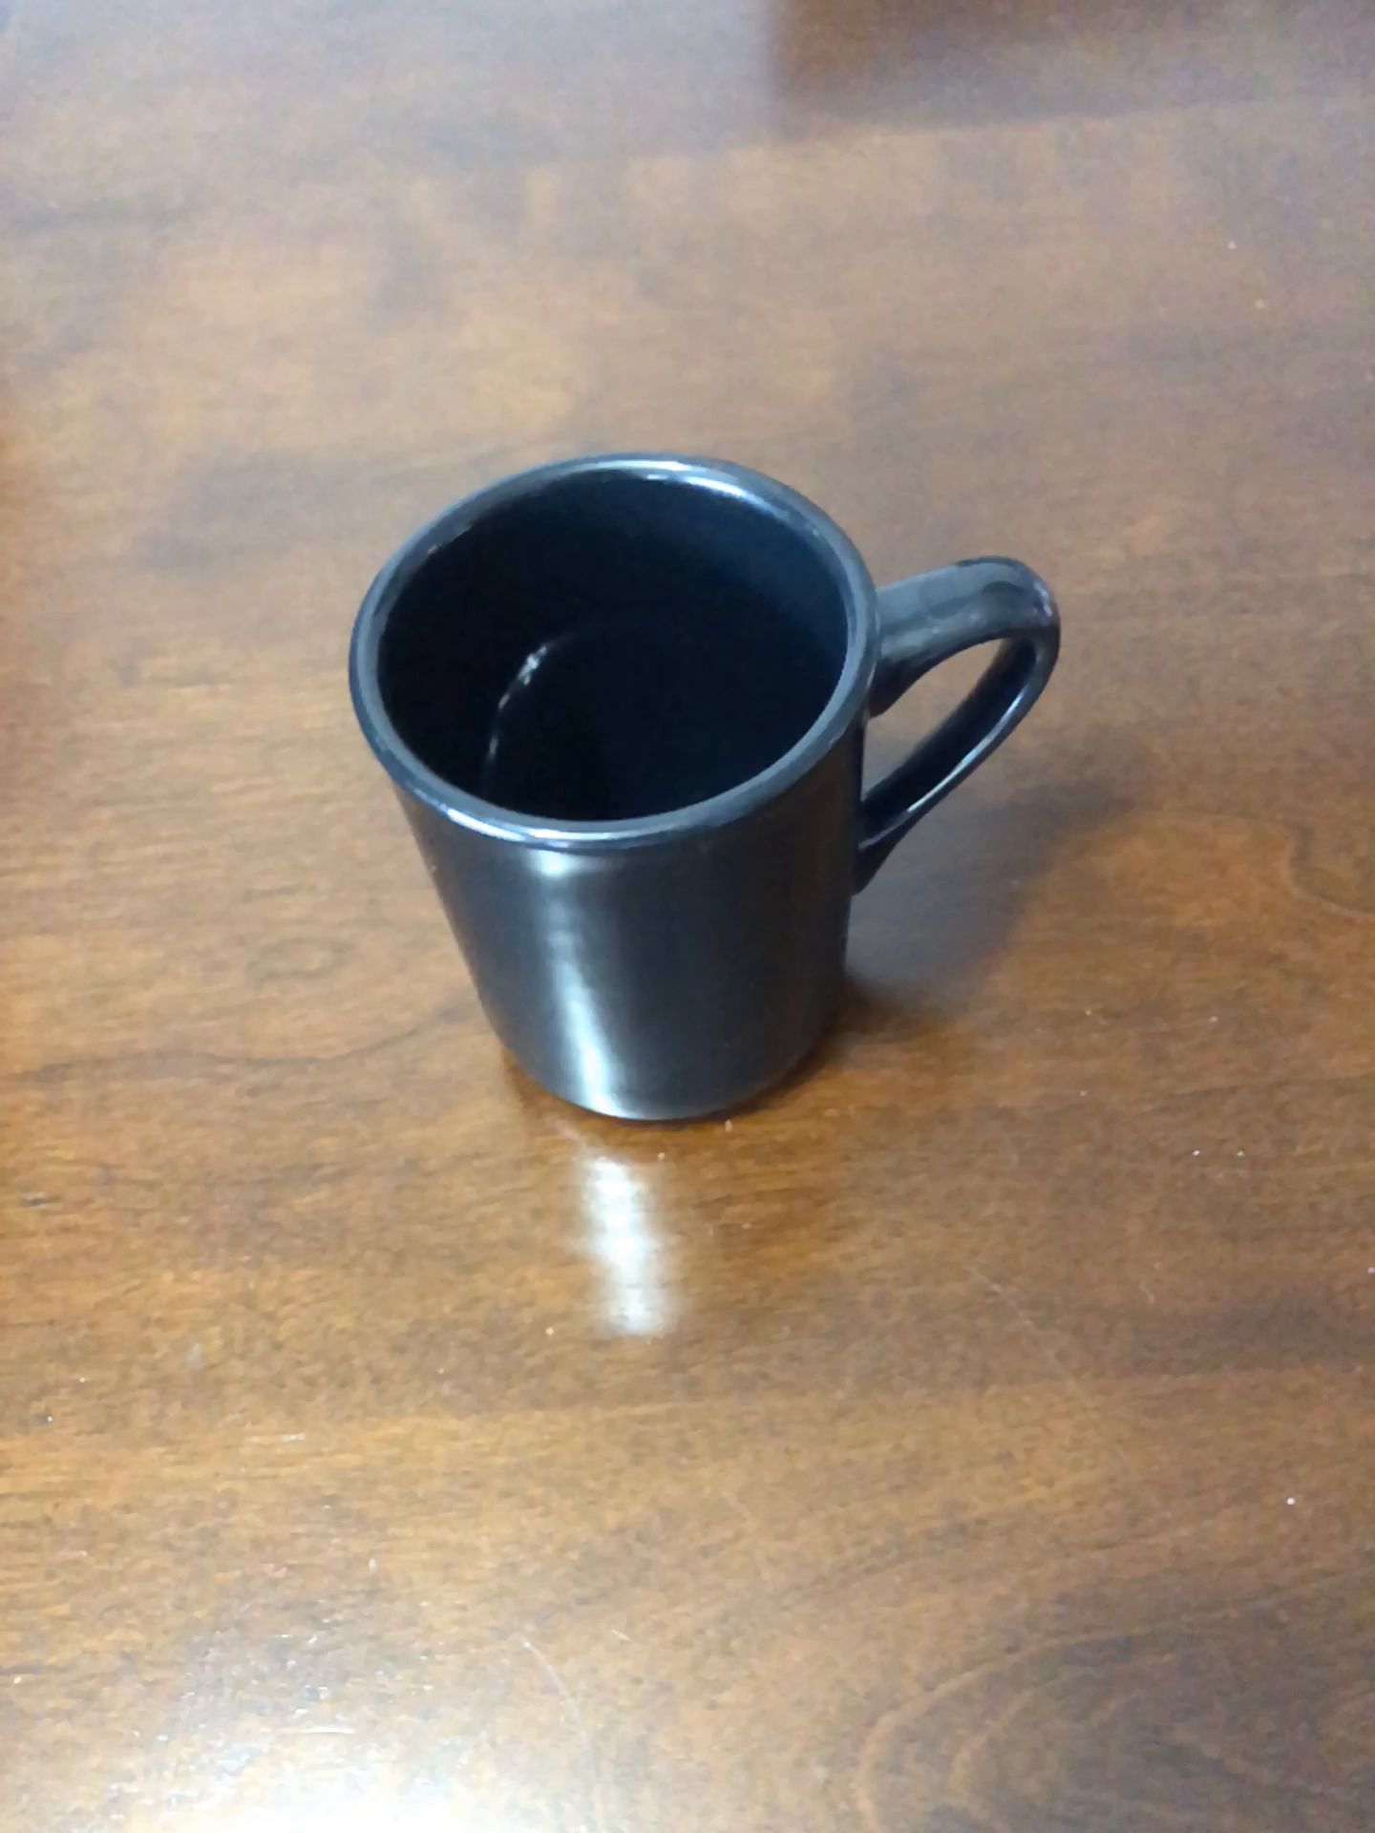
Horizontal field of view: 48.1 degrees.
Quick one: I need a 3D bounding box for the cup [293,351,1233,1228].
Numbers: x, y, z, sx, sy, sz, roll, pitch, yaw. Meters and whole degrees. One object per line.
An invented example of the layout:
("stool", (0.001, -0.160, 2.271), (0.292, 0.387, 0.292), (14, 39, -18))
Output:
("cup", (0.008, -0.020, 0.267), (0.120, 0.090, 0.090), (-14, 56, -5))
